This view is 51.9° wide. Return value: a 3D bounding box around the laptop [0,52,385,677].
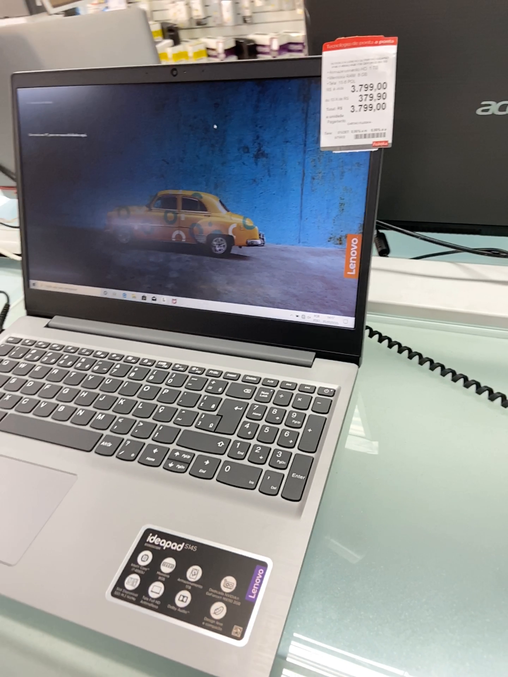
[{"bbox_3d":[-0.119,-0.041,0.389,0.364,0.213,0.362,7,41,20],"label":"laptop"}]
